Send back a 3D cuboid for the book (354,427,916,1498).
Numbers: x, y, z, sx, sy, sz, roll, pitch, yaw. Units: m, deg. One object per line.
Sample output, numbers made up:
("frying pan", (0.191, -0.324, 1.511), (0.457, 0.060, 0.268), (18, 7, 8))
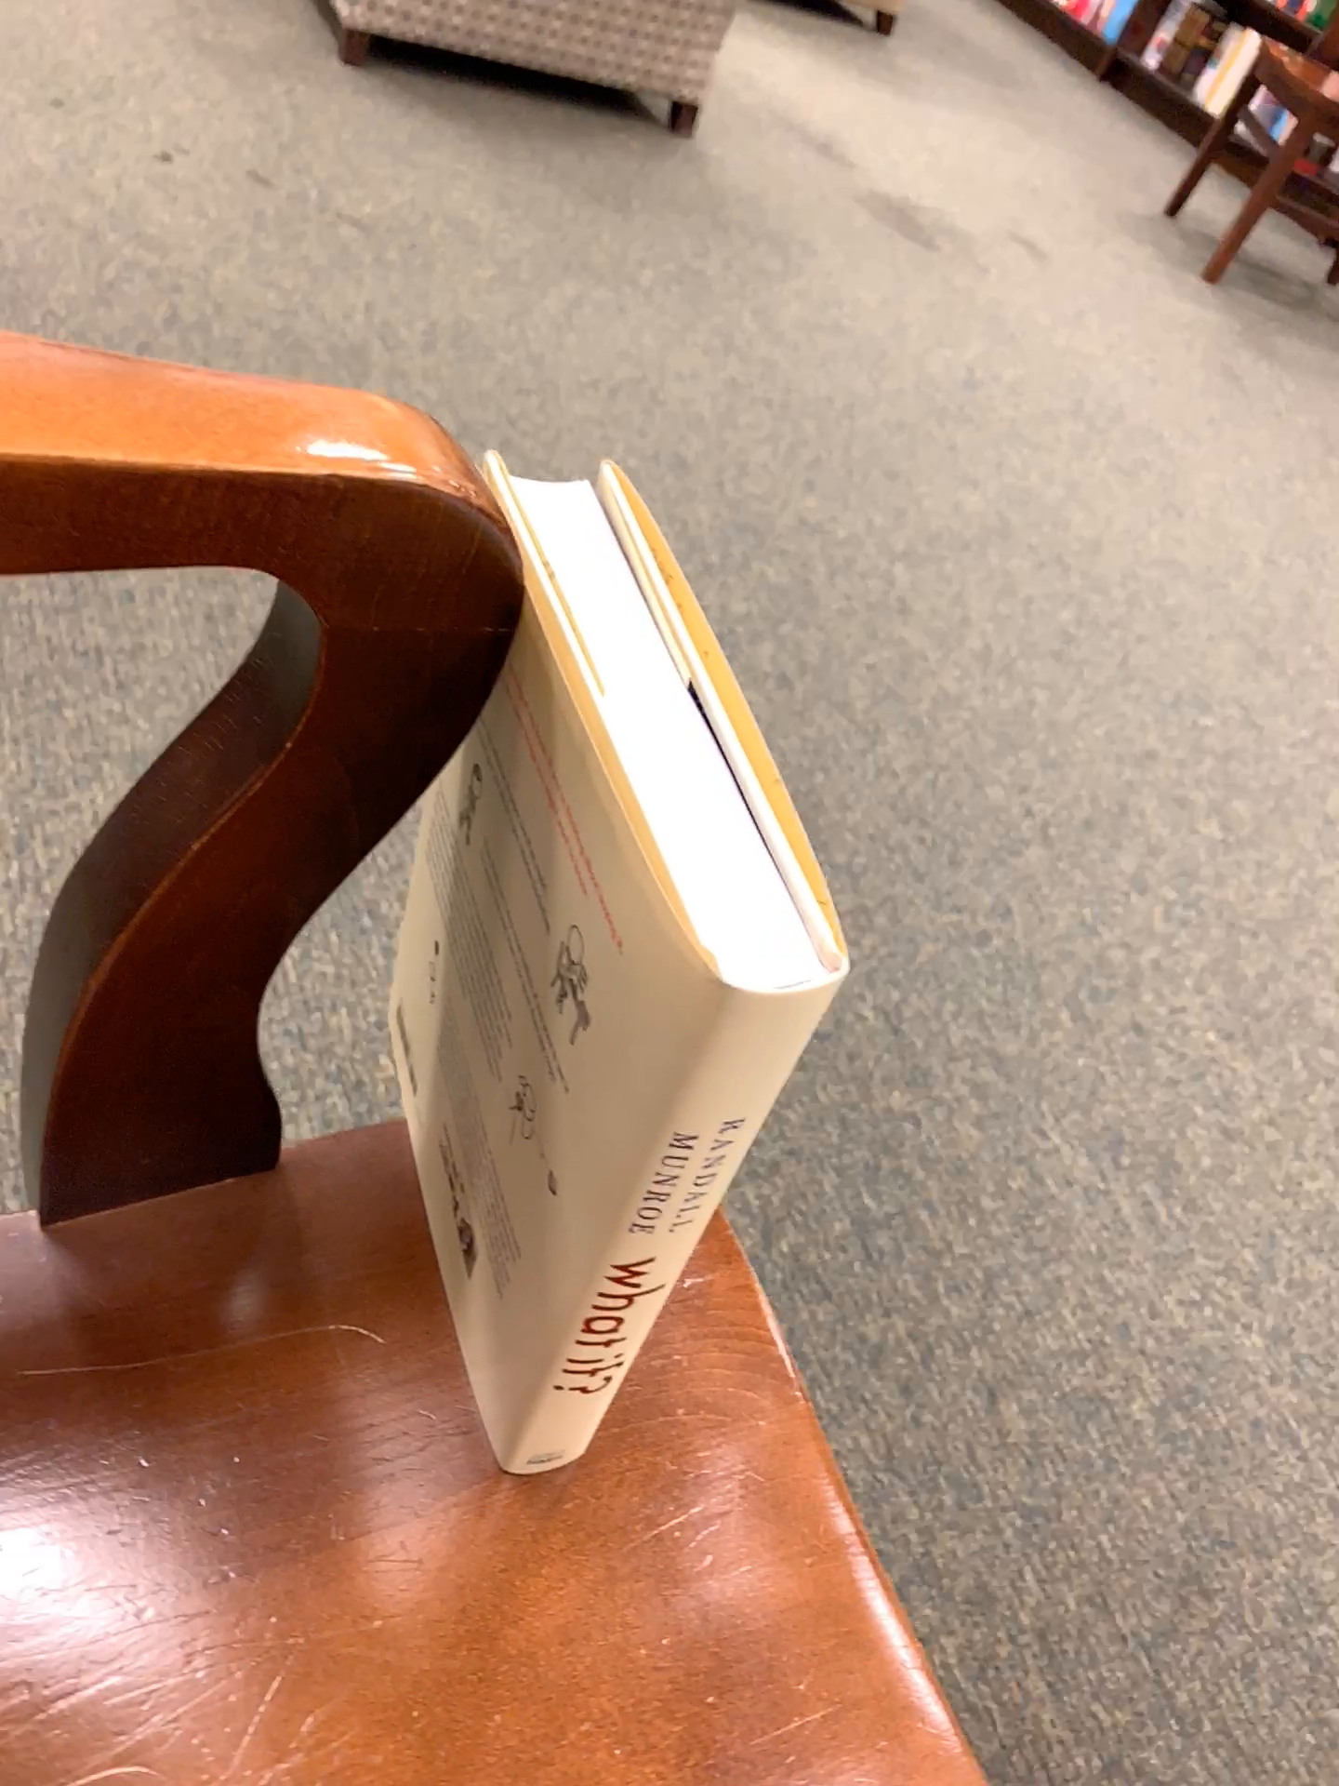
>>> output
("book", (-0.036, 0.028, 0.393), (0.050, 0.239, 0.188), (-4, 49, -24))
